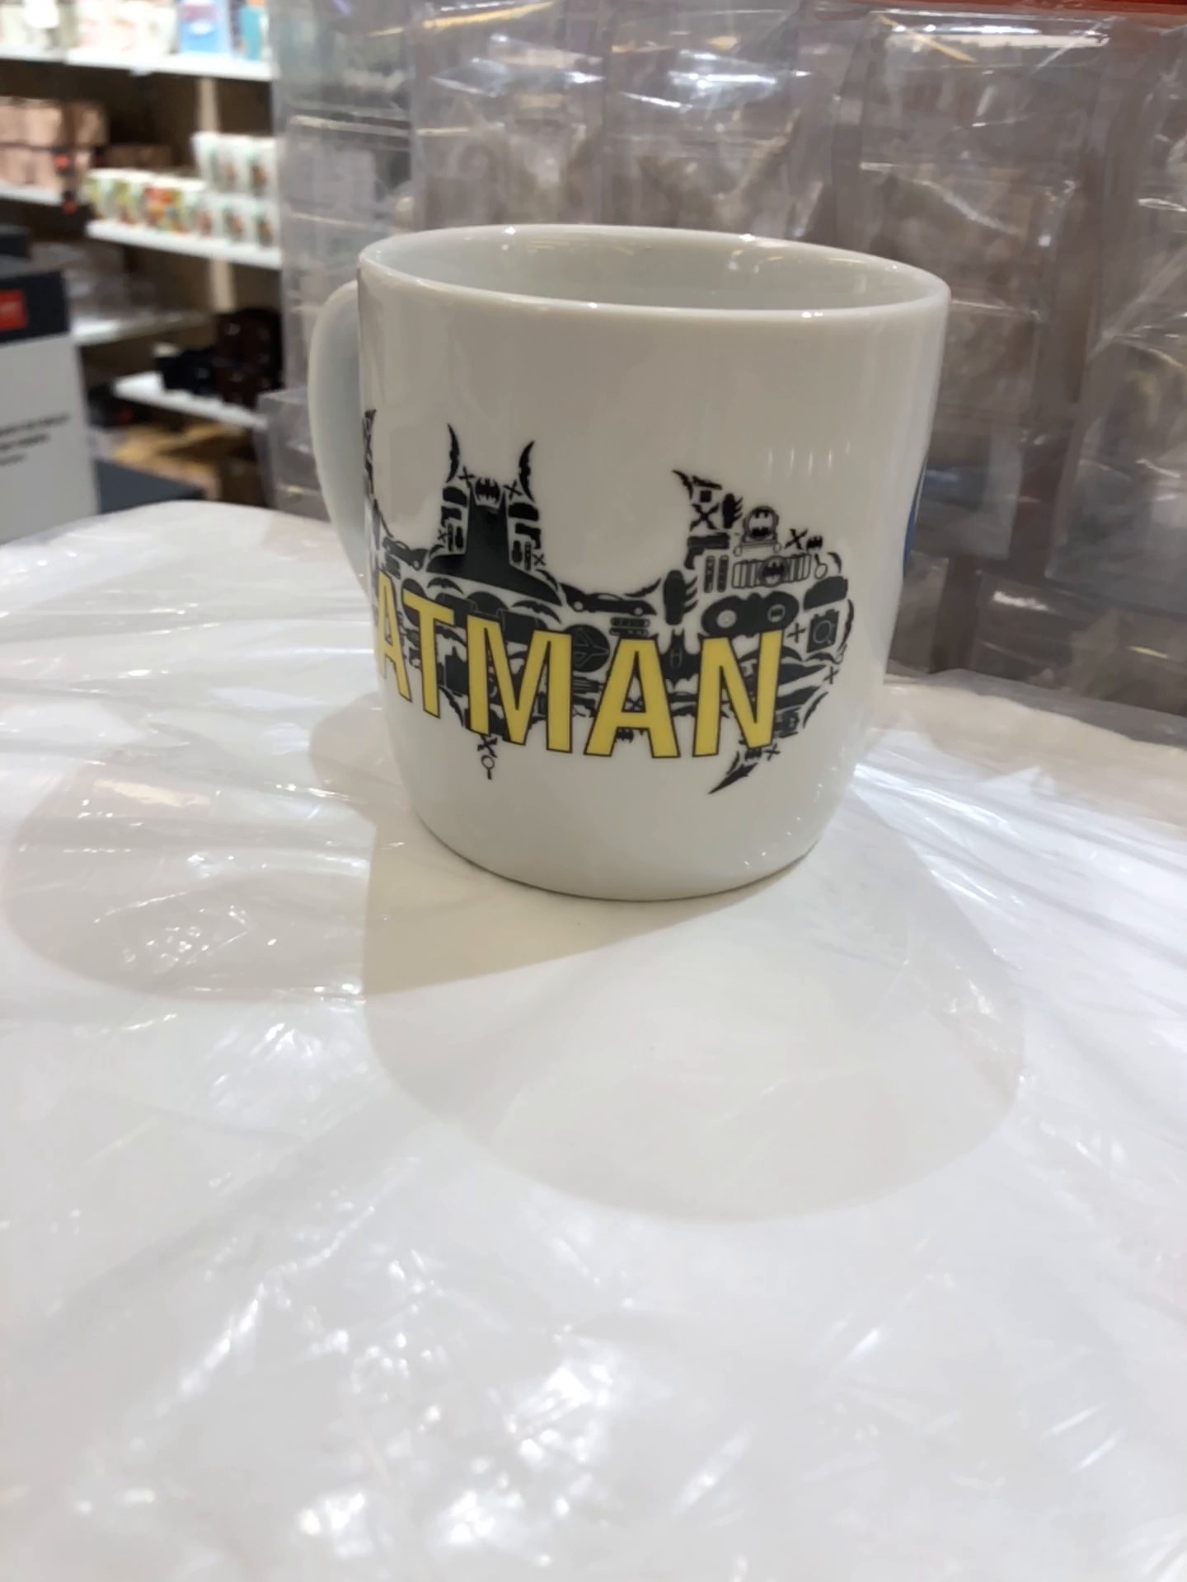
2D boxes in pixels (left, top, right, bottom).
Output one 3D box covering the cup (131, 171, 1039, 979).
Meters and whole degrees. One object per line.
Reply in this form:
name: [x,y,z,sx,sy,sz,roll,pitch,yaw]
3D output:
cup: [-0.006,-0.047,0.218,0.110,0.089,0.080,27,37,36]
